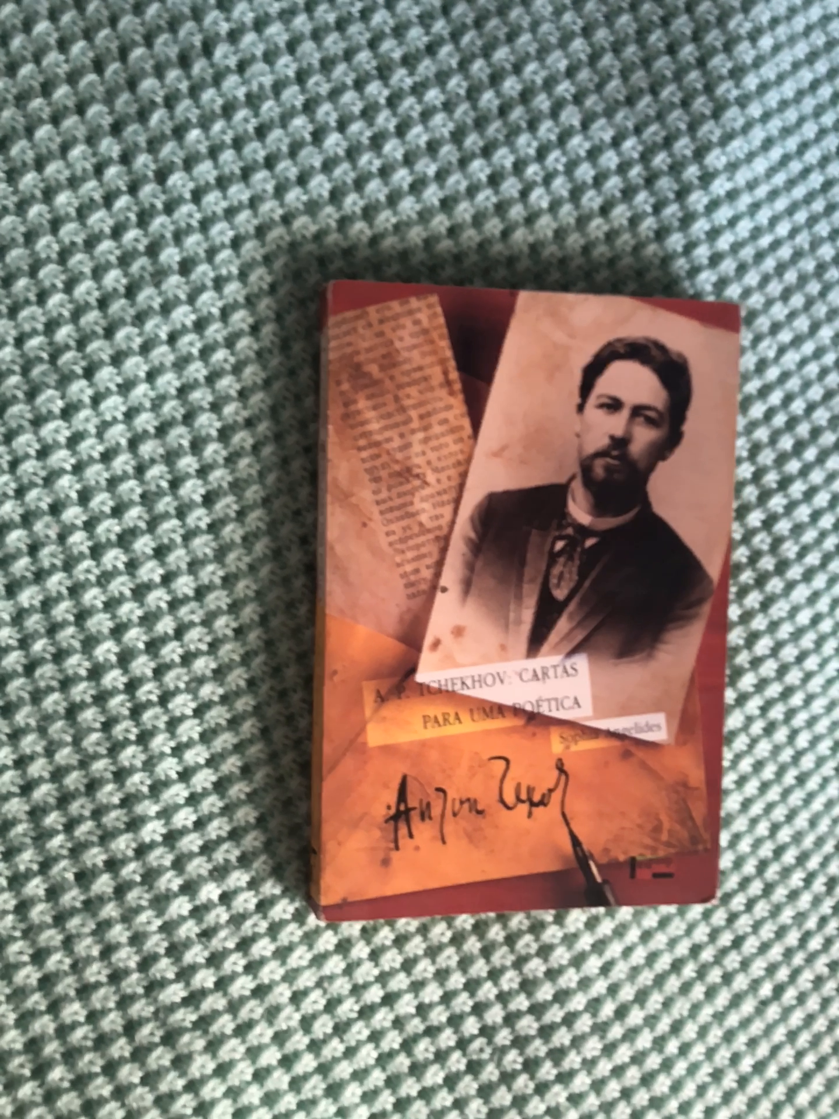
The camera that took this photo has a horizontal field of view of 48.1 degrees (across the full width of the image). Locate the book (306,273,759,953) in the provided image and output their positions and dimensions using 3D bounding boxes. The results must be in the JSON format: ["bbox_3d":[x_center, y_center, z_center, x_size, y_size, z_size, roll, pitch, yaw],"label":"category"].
[{"bbox_3d":[0.038,0.017,0.322,0.150,0.030,0.210,0,93,-14],"label":"book"}]
